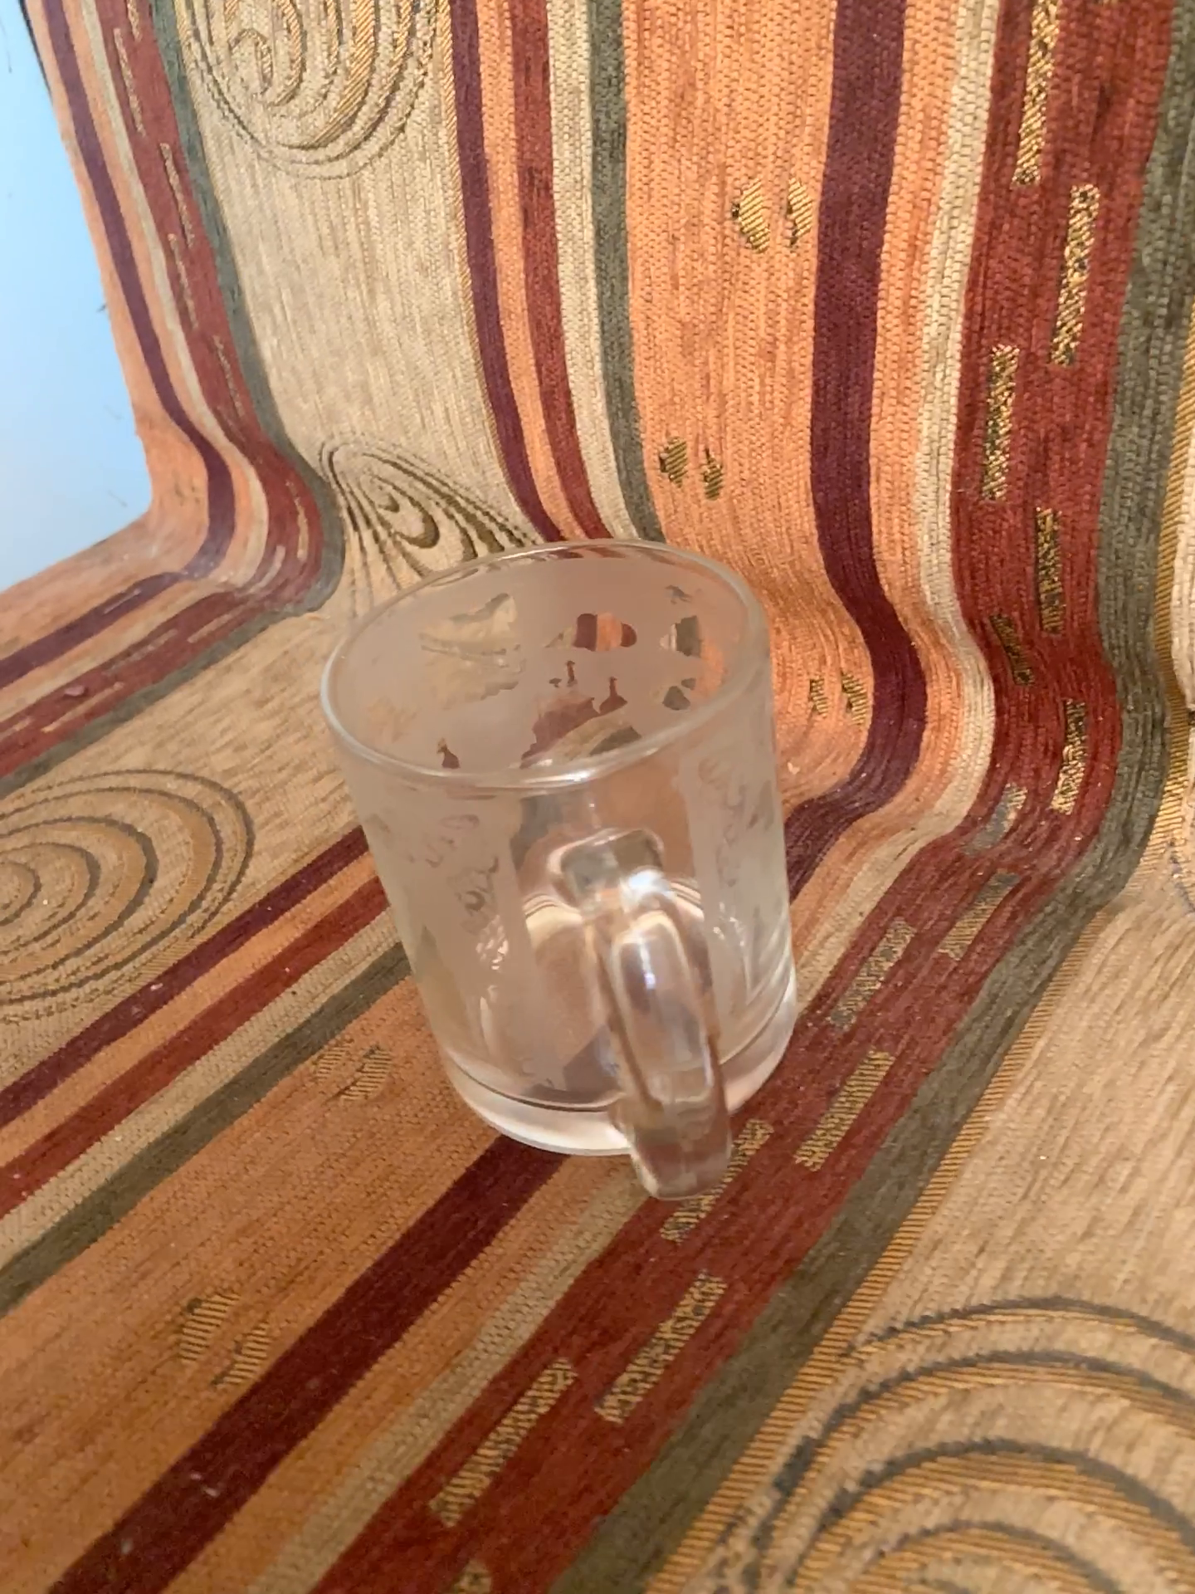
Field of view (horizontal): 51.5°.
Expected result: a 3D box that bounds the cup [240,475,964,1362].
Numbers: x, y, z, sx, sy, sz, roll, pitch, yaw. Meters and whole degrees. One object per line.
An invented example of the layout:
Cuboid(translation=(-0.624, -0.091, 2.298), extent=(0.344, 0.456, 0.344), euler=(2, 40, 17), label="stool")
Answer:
Cuboid(translation=(-0.005, 0.012, 0.224), extent=(0.084, 0.086, 0.116), euler=(-17, 37, -11), label="cup")
